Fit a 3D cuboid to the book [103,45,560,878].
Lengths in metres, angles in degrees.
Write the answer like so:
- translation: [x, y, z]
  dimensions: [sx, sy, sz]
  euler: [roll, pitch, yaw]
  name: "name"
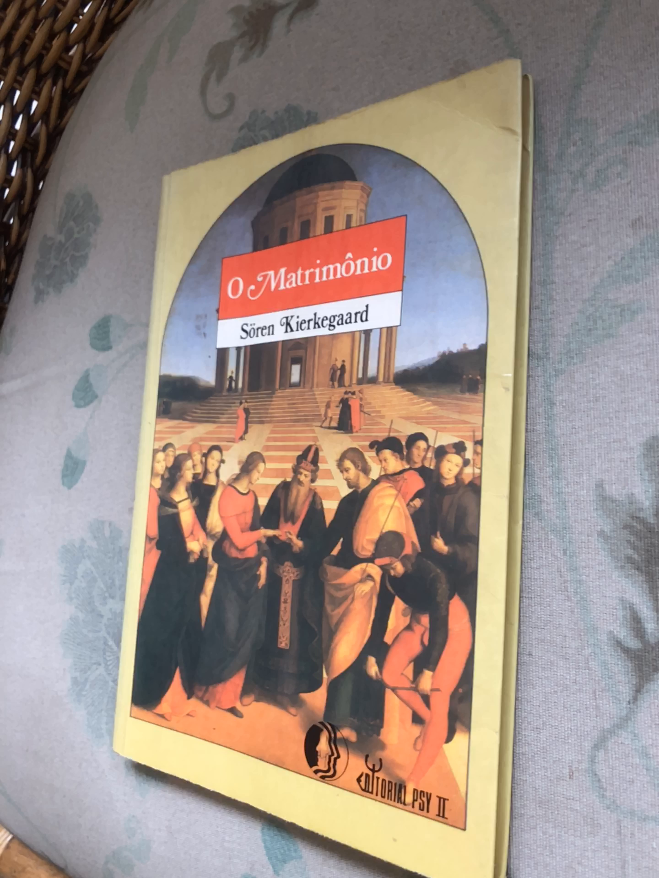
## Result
- translation: [-0.008, 0.006, 0.220]
  dimensions: [0.141, 0.020, 0.200]
  euler: [0, 85, 37]
  name: "book"
